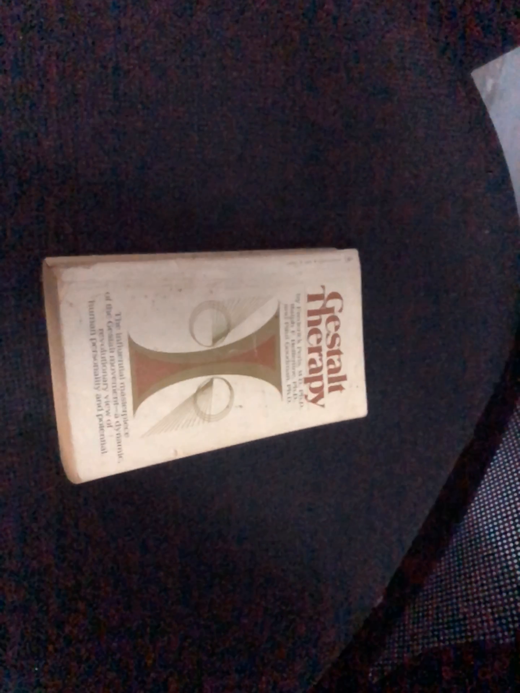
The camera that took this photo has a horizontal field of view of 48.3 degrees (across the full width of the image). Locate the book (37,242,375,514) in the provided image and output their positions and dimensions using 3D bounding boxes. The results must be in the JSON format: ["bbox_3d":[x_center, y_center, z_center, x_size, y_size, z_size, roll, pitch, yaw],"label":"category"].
[{"bbox_3d":[-0.018,0.006,0.323,0.183,0.034,0.120,-8,100,-30],"label":"book"}]
